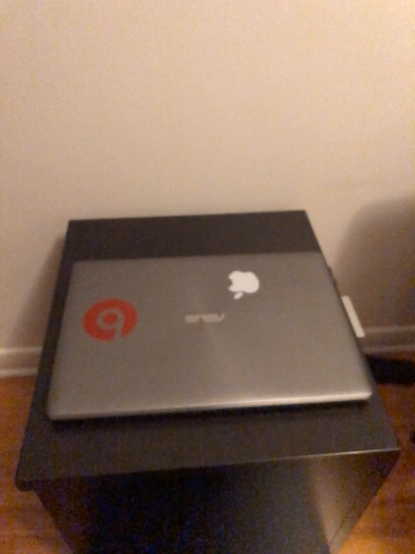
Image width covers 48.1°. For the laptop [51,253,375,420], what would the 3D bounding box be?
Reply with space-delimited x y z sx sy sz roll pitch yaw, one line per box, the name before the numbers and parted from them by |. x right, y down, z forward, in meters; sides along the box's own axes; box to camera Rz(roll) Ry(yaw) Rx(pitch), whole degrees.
laptop | -0.001 0.063 0.625 0.373 0.010 0.250 -3 45 -3
